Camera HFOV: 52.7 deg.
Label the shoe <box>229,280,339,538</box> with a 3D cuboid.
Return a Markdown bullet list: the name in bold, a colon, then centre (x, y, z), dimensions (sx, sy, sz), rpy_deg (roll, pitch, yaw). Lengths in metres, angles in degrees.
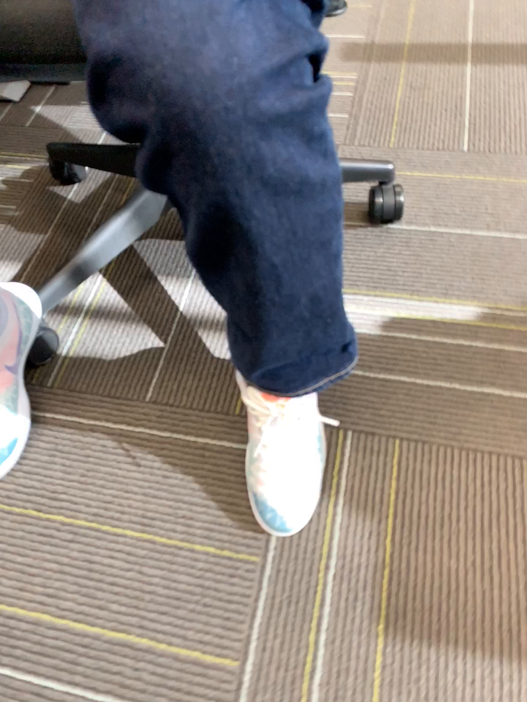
- **shoe**: centre (0.023, 0.075, 0.693), dimensions (0.113, 0.109, 0.311), rpy_deg (-5, 69, 4)

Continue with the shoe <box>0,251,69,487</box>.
- **shoe**: centre (-0.376, 0.020, 0.733), dimensions (0.106, 0.109, 0.303), rpy_deg (1, 66, 7)
